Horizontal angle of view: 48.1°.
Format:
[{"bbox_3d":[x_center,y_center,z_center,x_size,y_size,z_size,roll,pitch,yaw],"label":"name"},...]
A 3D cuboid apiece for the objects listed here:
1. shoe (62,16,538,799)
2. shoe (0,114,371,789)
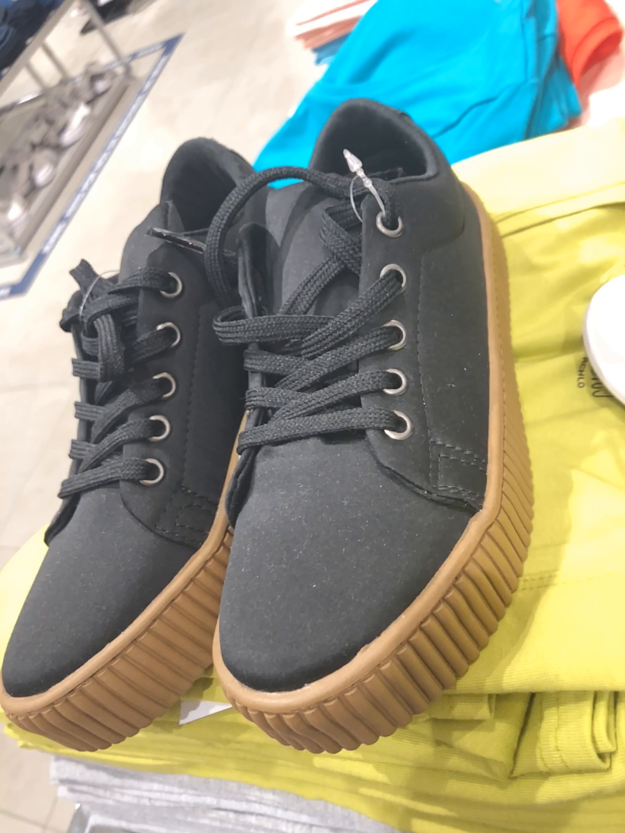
[{"bbox_3d":[0.020,-0.018,0.238,0.090,0.080,0.241,-9,51,30],"label":"shoe"},{"bbox_3d":[-0.057,0.000,0.271,0.090,0.080,0.231,-6,53,32],"label":"shoe"}]
